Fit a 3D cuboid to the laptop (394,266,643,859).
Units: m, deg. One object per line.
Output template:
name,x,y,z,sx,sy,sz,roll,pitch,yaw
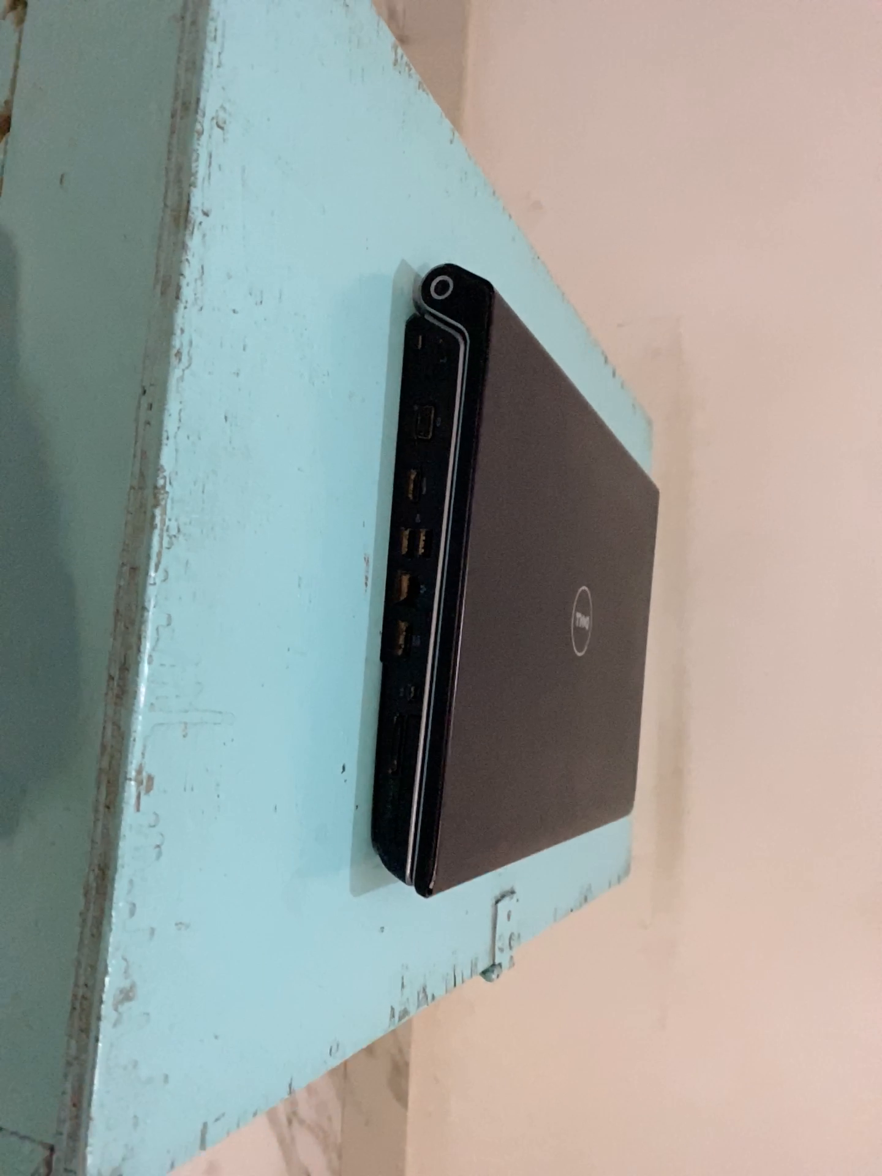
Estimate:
laptop,0.075,0.014,0.580,0.386,0.004,0.269,19,77,-64
